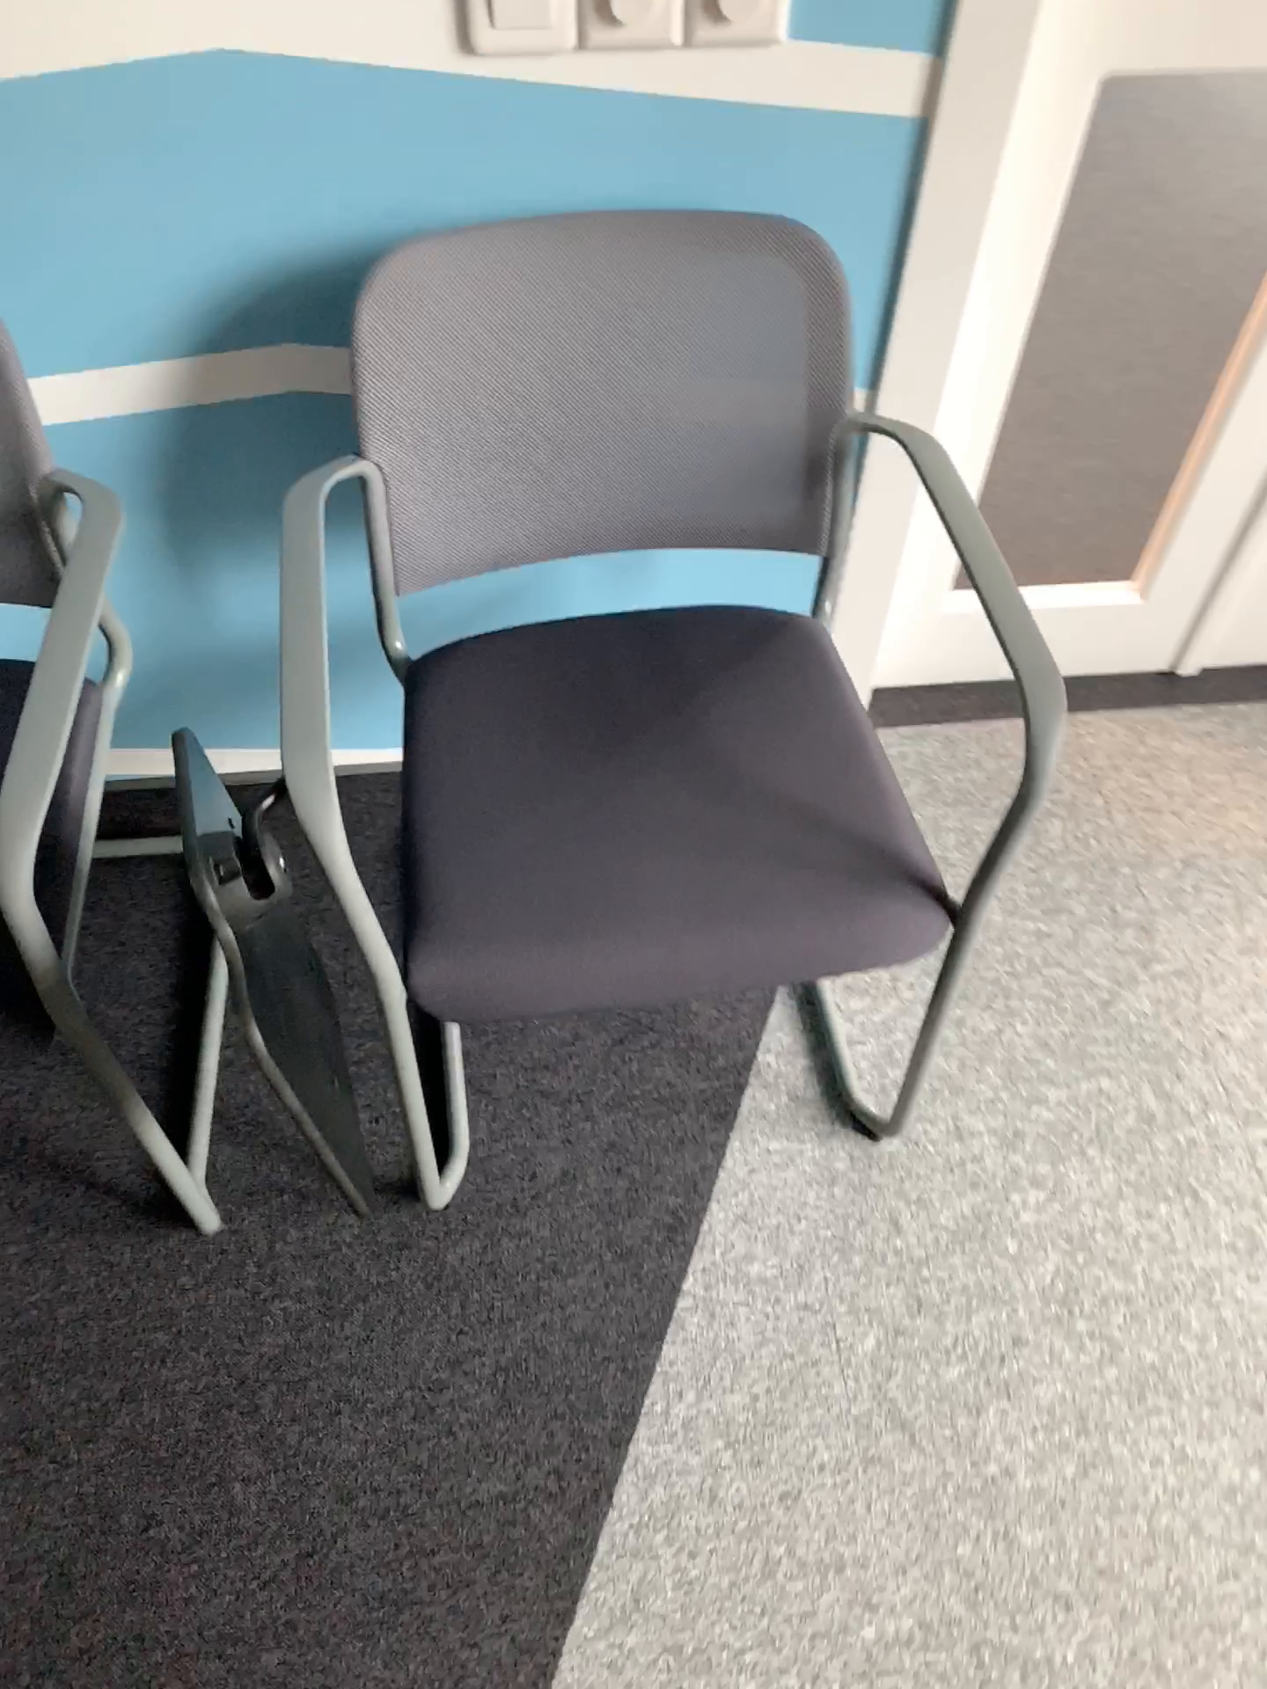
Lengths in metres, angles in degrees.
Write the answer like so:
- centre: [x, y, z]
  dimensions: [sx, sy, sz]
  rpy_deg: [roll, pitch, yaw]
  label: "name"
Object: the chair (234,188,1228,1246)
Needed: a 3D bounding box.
- centre: [0.010, -0.101, 1.165]
  dimensions: [0.570, 0.628, 0.642]
  rpy_deg: [-6, 54, -6]
  label: "chair"
